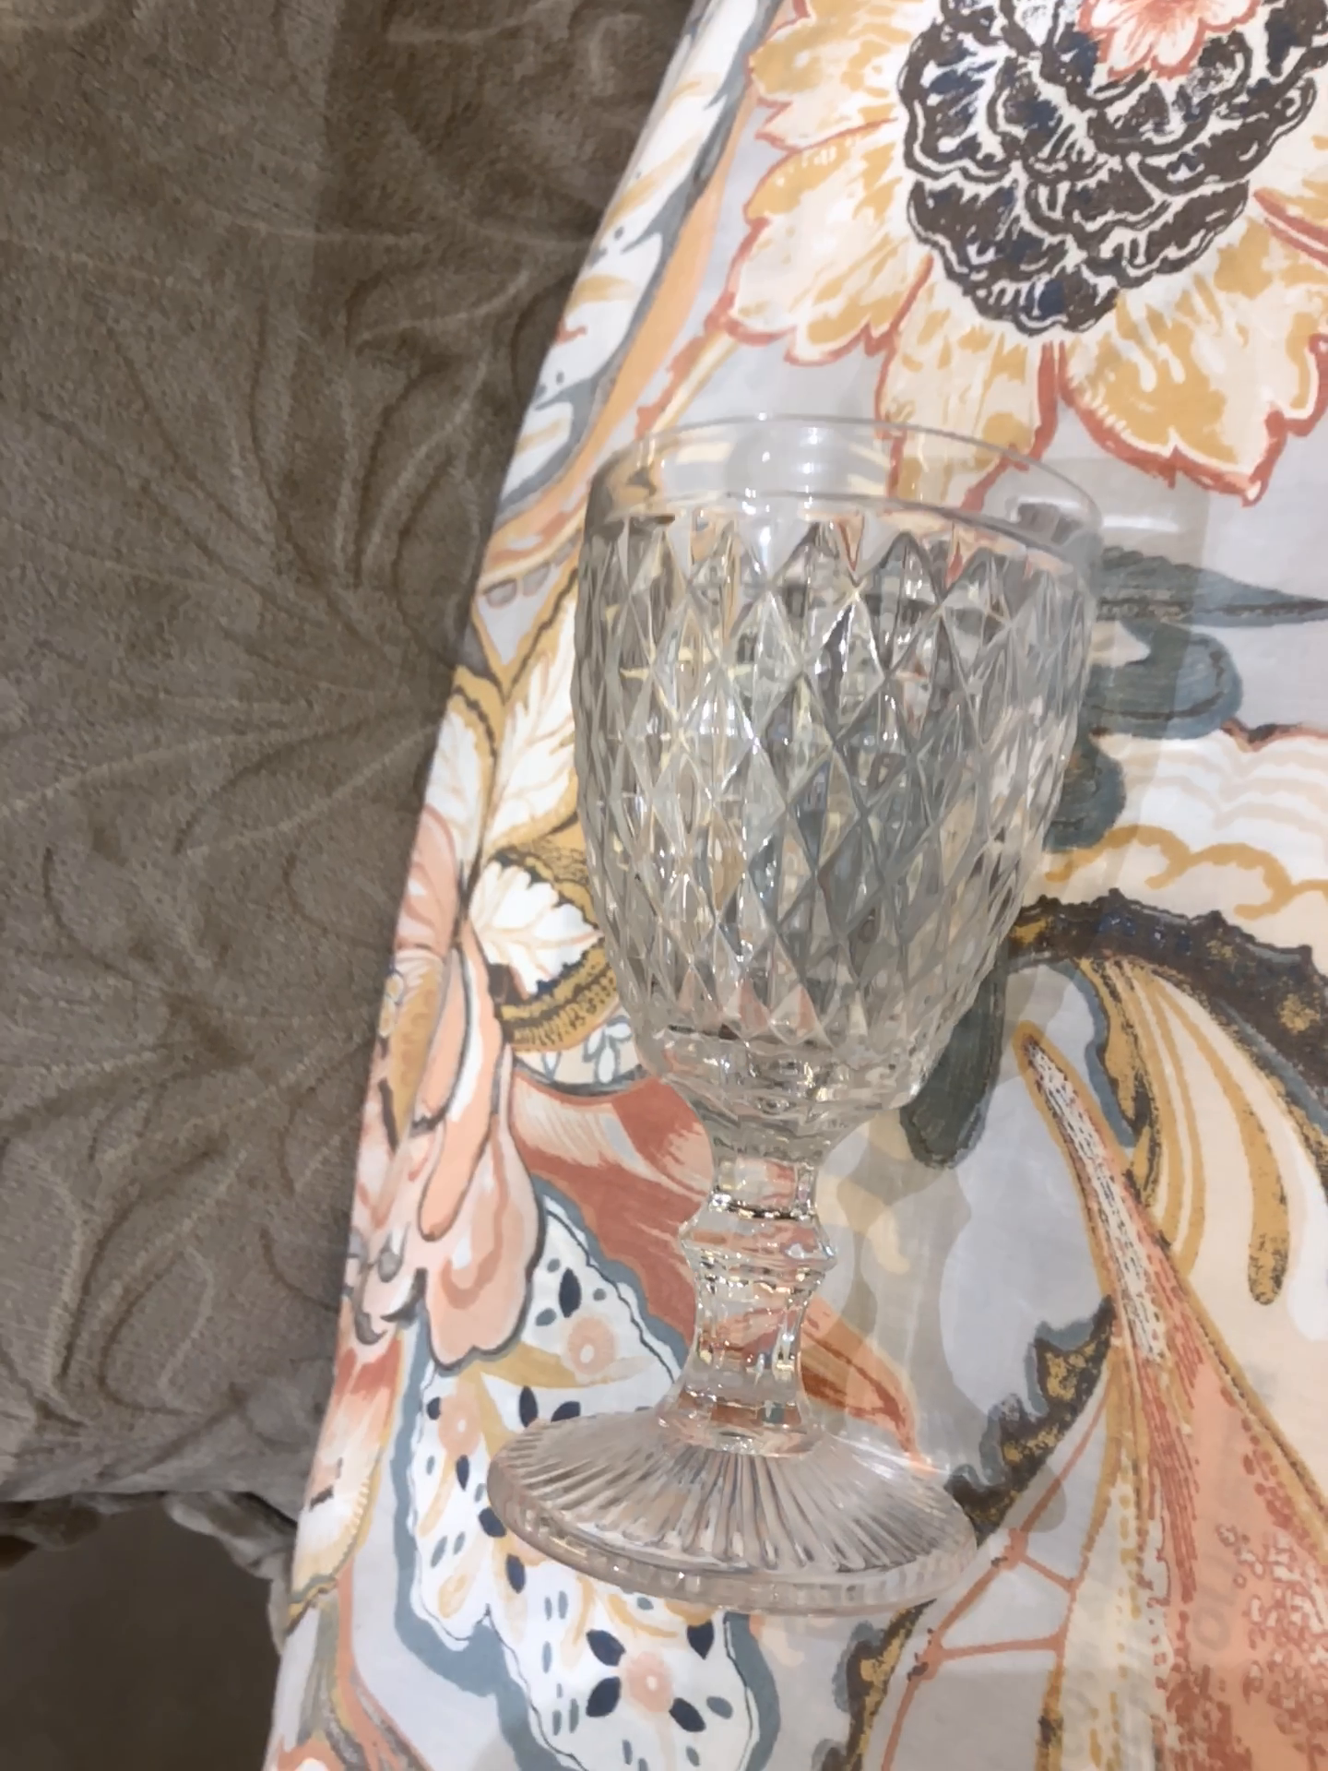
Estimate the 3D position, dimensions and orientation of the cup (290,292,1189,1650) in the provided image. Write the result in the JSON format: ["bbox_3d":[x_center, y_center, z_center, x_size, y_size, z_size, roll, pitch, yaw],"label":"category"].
[{"bbox_3d":[0.016,0.011,0.242,0.090,0.080,0.170,4,81,39],"label":"cup"}]
